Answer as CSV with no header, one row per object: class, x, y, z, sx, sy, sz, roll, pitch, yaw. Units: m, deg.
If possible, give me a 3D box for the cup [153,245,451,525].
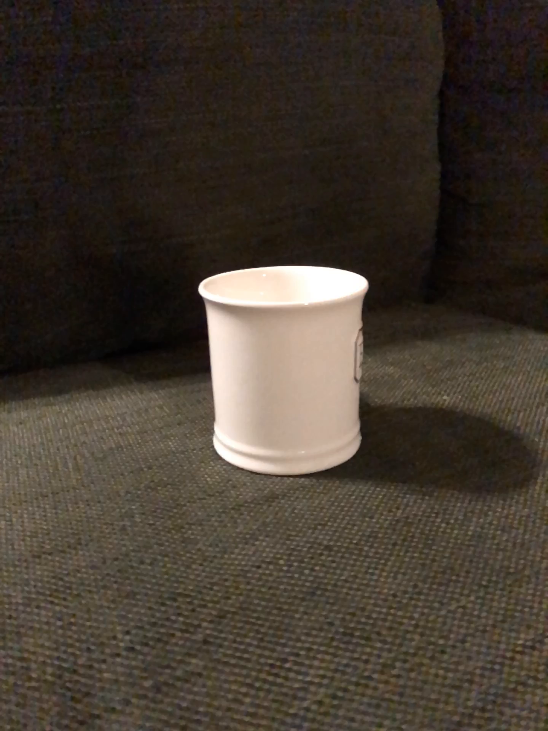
cup,0.008,-0.003,0.349,0.100,0.100,0.140,-14,25,-29
